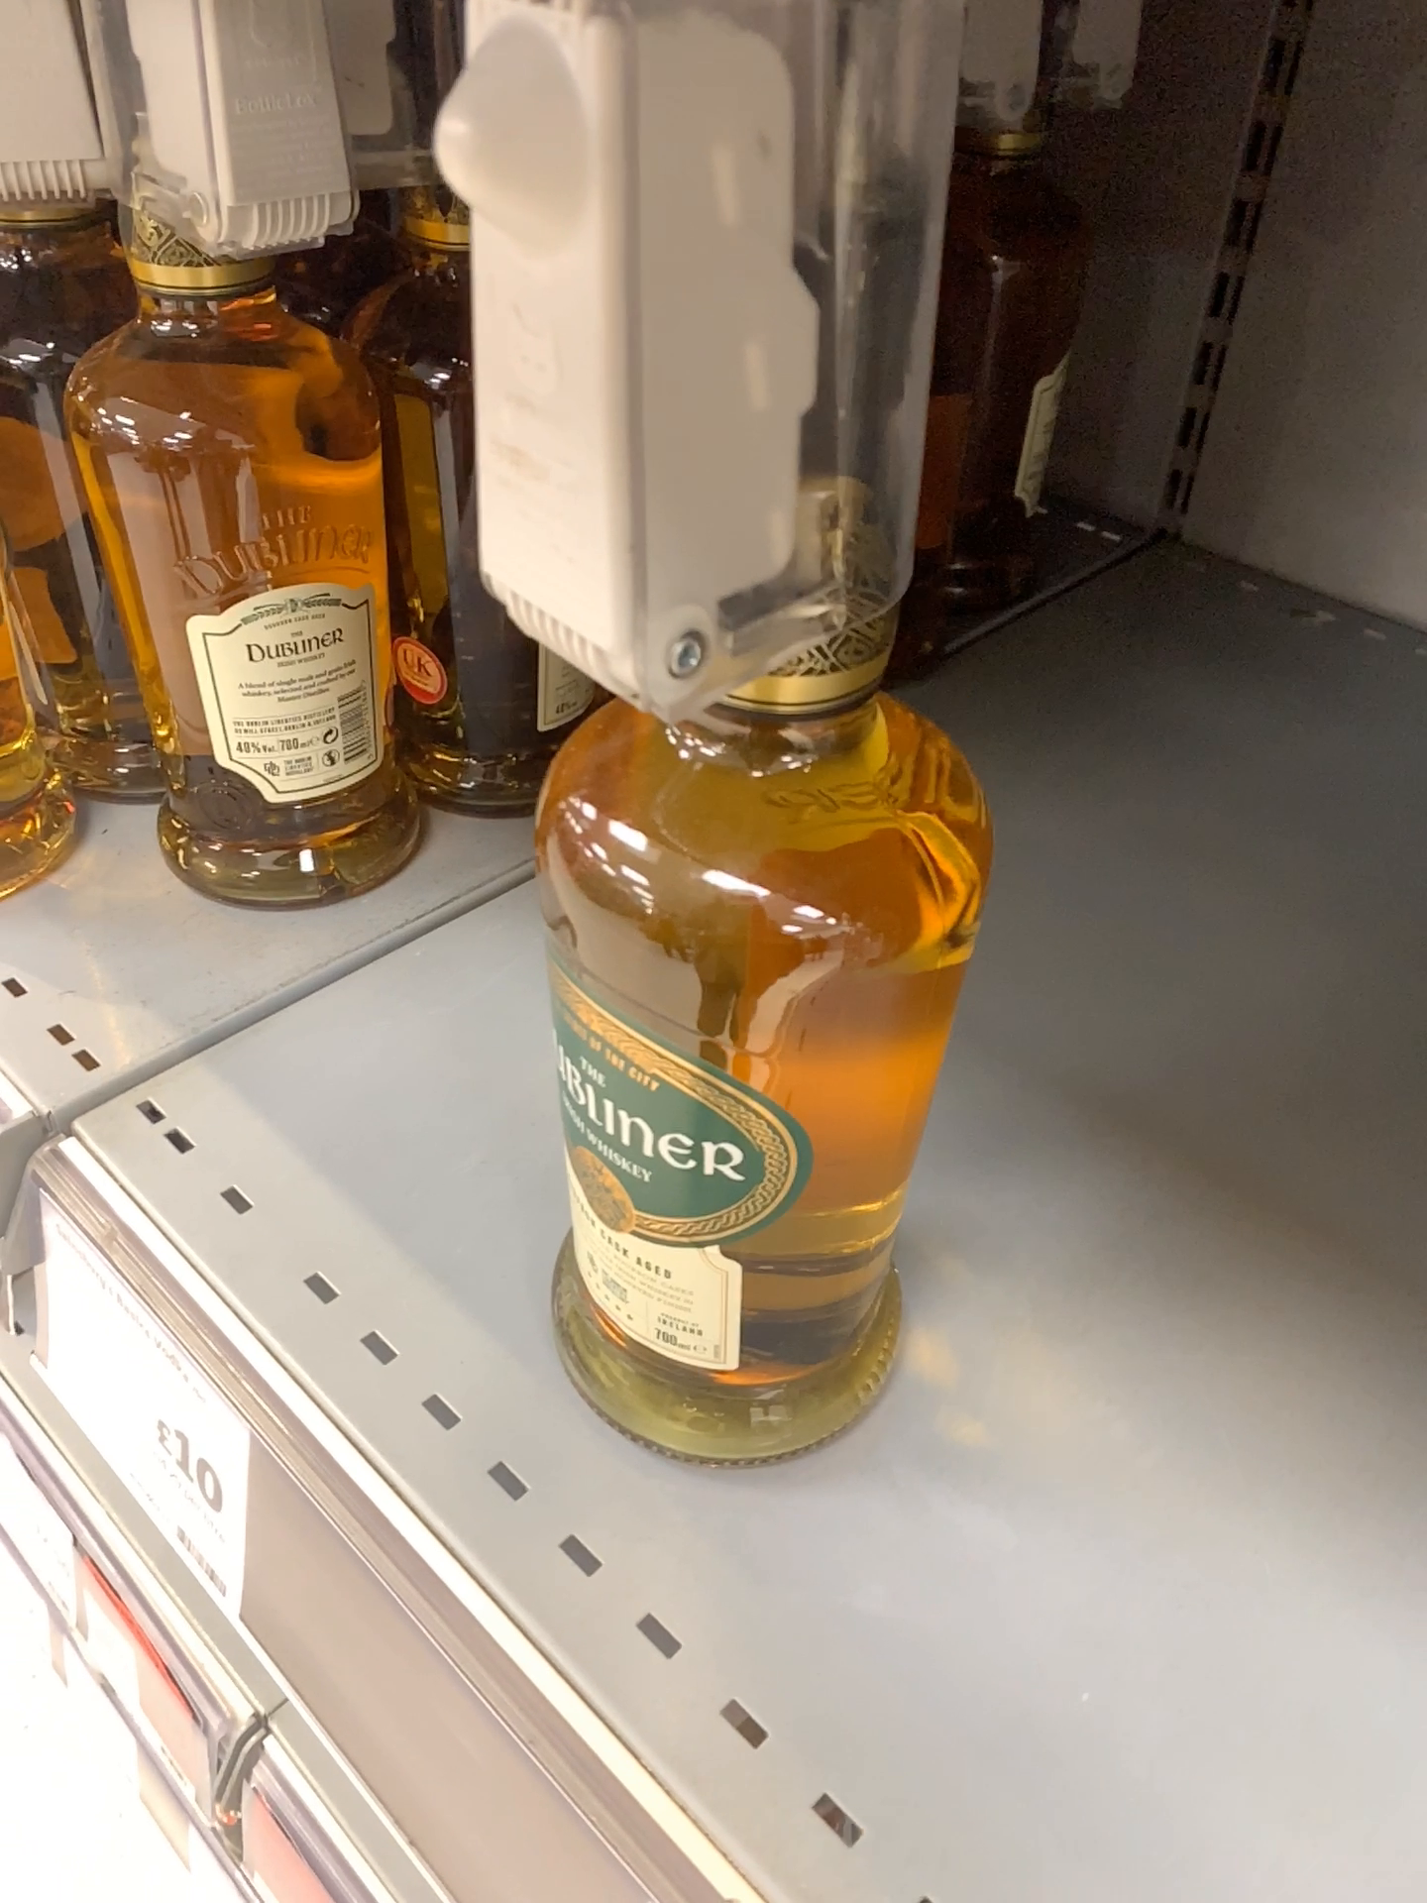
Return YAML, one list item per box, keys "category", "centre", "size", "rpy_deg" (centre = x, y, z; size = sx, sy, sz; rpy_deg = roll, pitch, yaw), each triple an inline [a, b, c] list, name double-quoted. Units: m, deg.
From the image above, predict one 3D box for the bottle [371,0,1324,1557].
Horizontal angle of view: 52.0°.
- category: "bottle"
  centre: [0.010, -0.017, 0.282]
  size: [0.090, 0.283, 0.089]
  rpy_deg: [2, 39, -2]
